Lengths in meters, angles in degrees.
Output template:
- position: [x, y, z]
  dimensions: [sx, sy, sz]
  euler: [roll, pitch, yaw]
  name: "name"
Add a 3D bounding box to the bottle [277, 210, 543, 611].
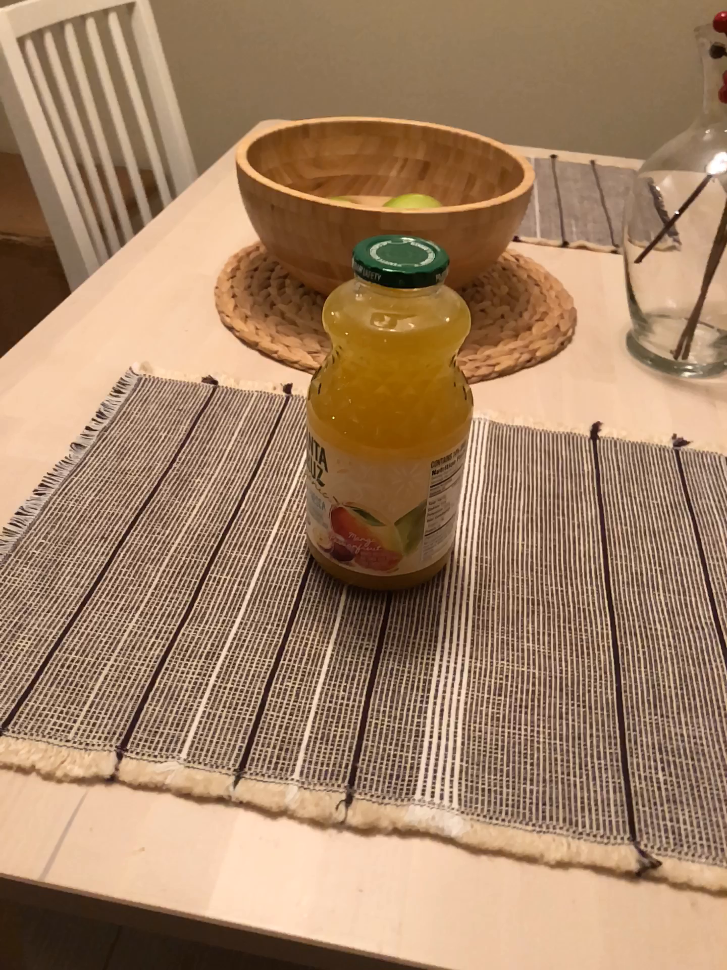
- position: [0.015, -0.041, 0.457]
  dimensions: [0.100, 0.189, 0.100]
  euler: [3, 37, -2]
  name: "bottle"
